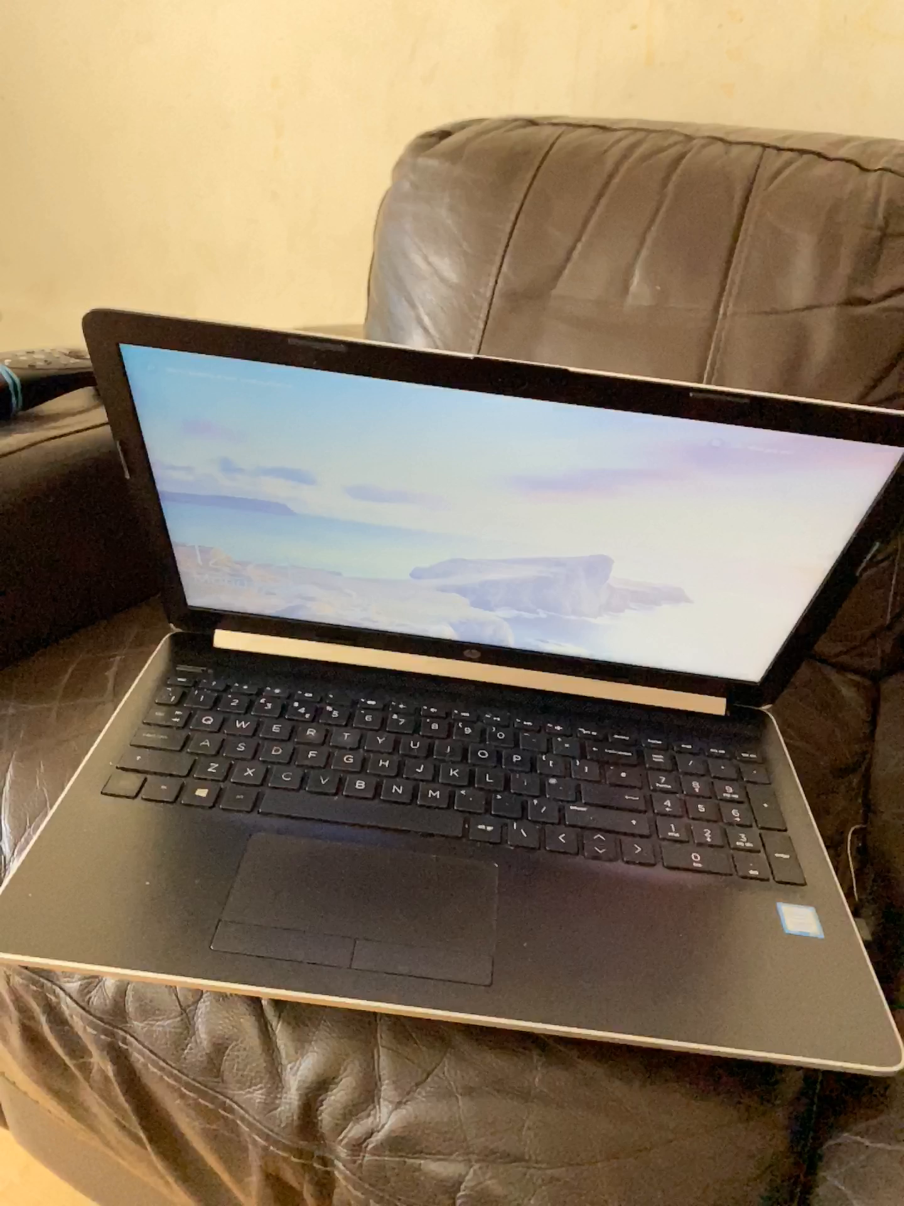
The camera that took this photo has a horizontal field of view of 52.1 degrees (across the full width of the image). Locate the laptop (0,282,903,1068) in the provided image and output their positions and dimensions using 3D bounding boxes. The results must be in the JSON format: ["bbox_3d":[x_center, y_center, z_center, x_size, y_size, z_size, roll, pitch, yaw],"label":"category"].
[{"bbox_3d":[0.008,0.008,0.424,0.371,0.211,0.238,7,28,1],"label":"laptop"}]
